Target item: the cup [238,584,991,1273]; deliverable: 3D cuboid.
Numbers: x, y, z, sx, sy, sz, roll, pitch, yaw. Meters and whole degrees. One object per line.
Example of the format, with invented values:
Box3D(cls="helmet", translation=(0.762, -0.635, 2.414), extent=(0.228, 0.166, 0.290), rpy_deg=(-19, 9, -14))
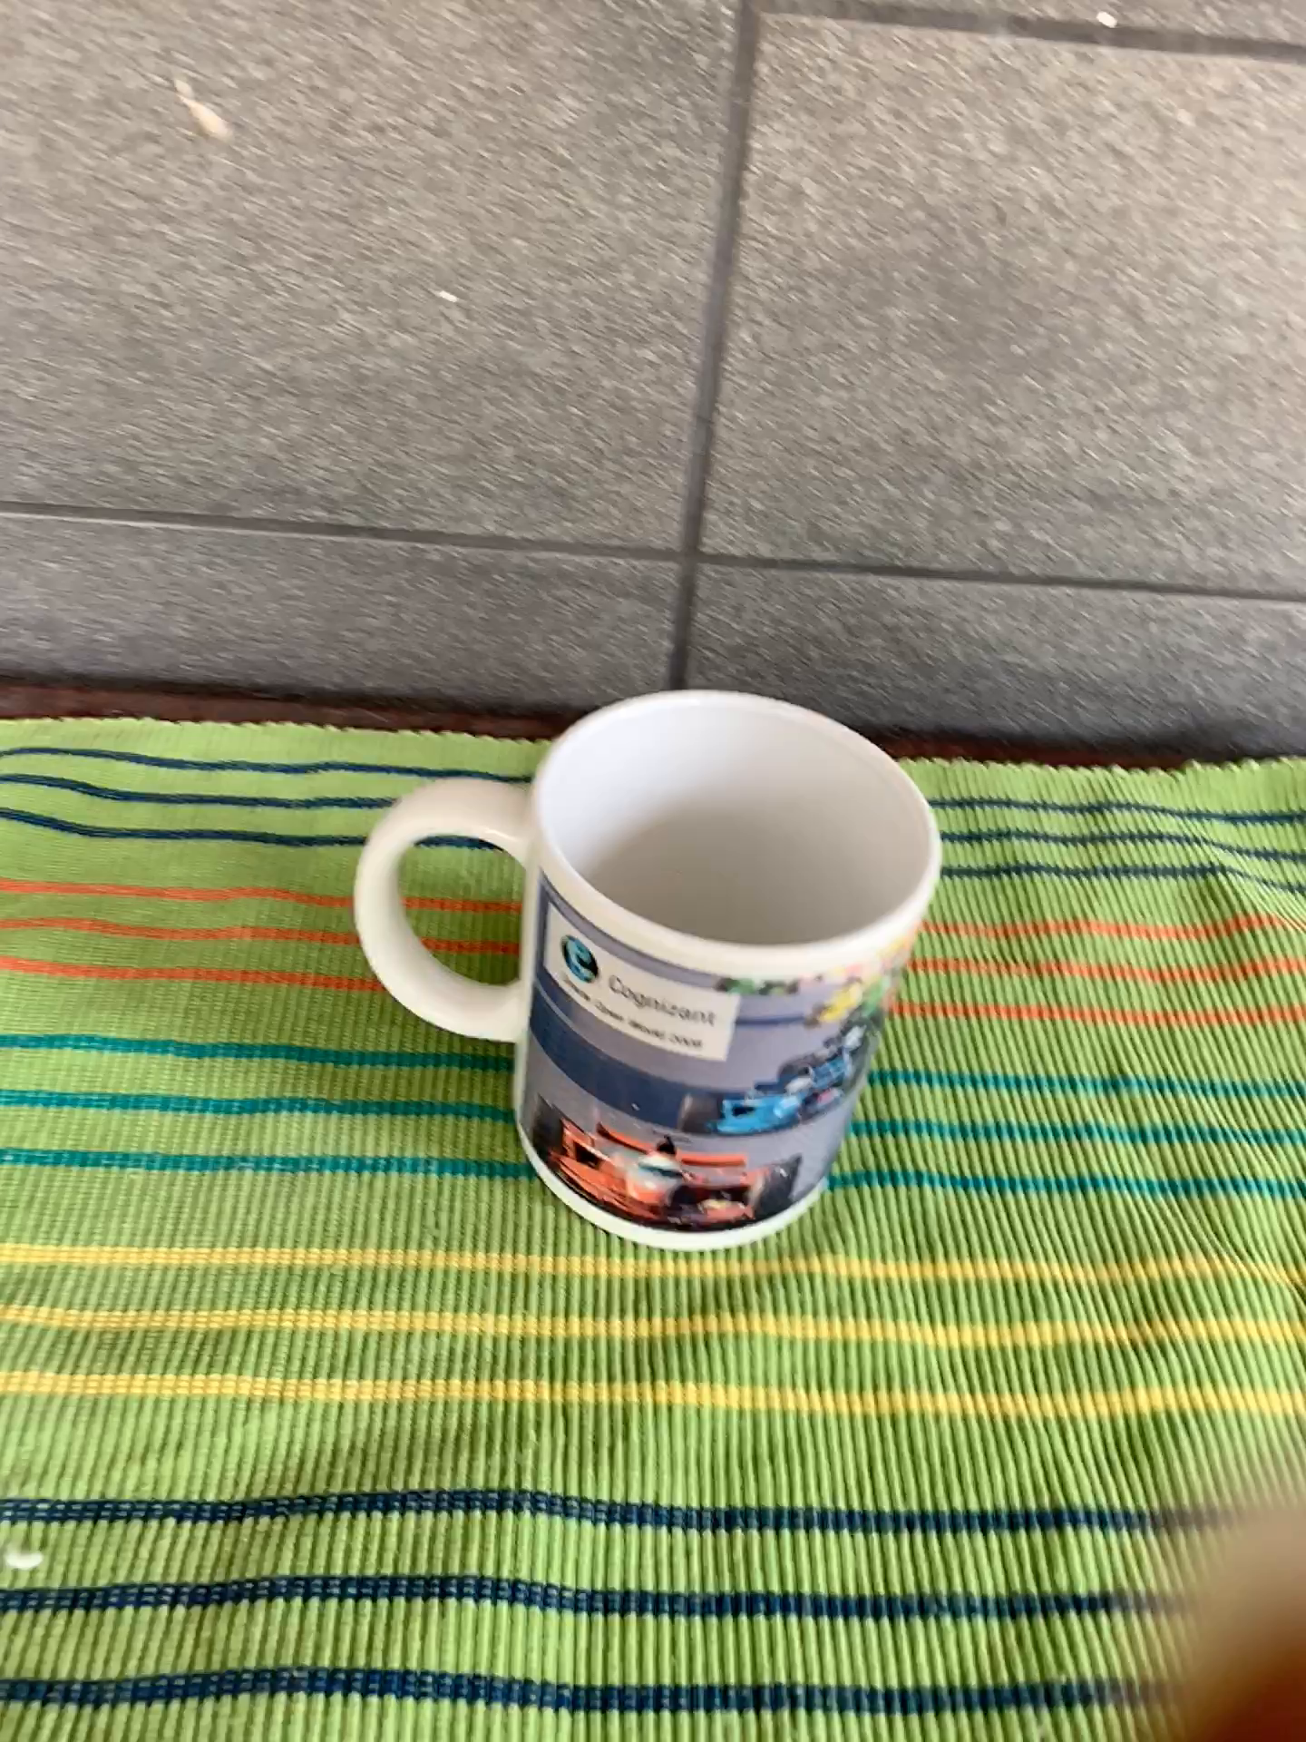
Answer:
Box3D(cls="cup", translation=(-0.008, 0.013, 0.291), extent=(0.130, 0.100, 0.080), rpy_deg=(10, 42, 1))
